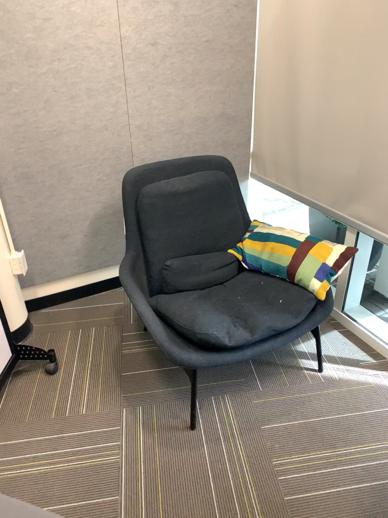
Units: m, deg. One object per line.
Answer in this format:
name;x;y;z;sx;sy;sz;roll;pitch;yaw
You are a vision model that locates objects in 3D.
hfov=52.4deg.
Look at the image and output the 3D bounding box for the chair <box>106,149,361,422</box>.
chair;0.092;0.018;1.975;0.790;0.815;1.006;-12;31;-17
